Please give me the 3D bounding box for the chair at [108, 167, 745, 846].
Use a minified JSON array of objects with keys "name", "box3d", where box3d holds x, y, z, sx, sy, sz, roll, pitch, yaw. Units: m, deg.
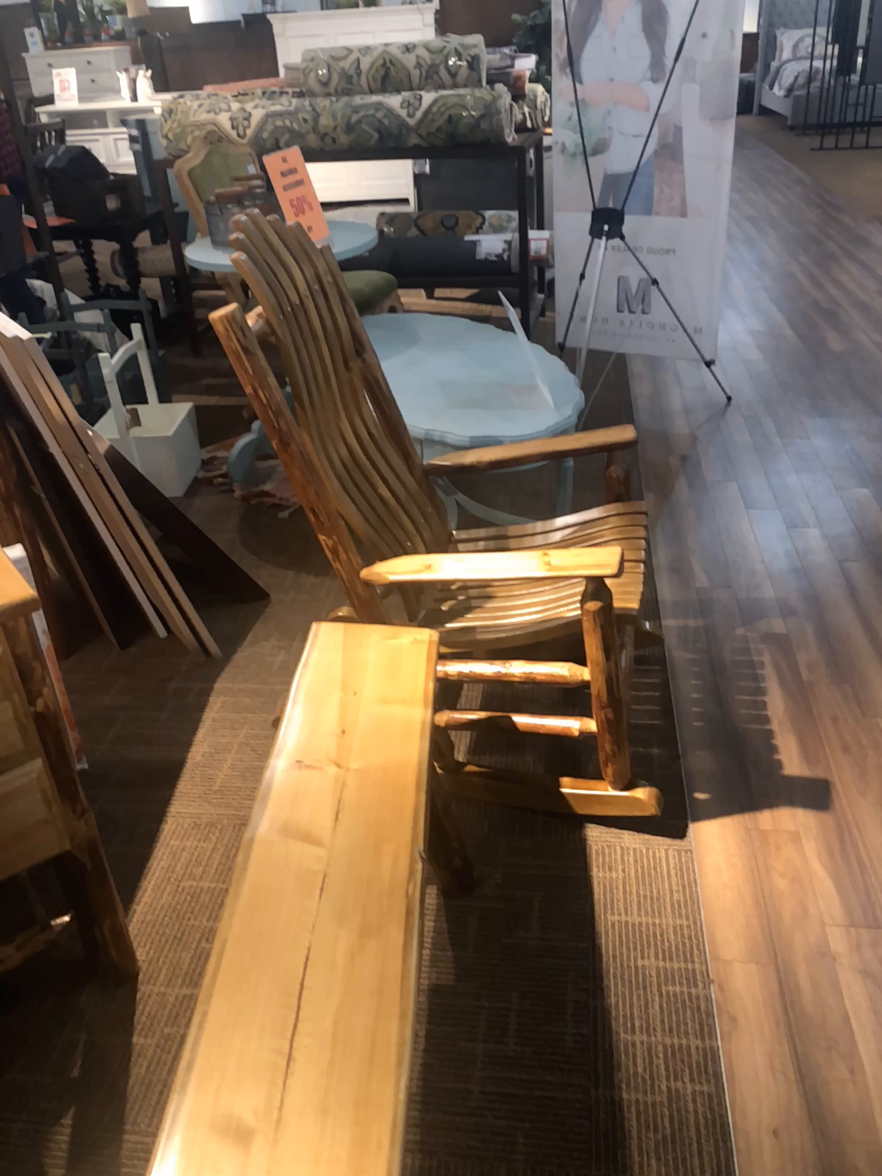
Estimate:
[{"name":"chair","box3d":[0.046,-0.190,1.874,0.884,1.049,0.721,3,30,11]}]
